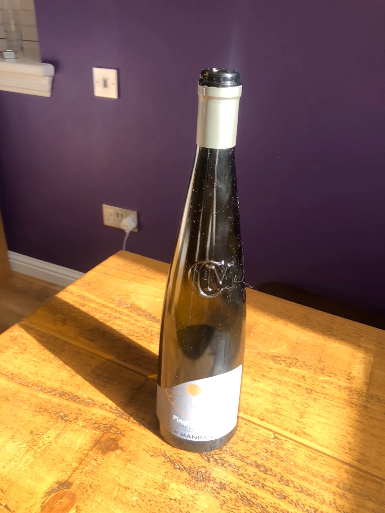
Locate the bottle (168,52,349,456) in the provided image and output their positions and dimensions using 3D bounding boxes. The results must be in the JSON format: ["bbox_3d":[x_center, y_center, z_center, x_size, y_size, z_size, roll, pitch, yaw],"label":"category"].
[{"bbox_3d":[0.032,0.016,0.365,0.100,0.337,0.101,2,29,-1],"label":"bottle"}]
